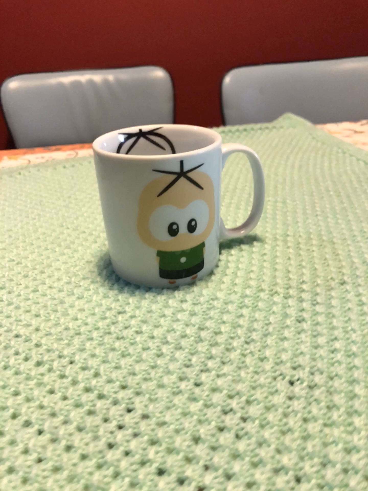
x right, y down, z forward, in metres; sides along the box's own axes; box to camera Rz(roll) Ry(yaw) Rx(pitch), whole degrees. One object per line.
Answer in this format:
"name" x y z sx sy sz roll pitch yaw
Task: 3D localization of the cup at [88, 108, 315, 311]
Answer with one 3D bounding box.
"cup" 0.008 -0.033 0.298 0.130 0.099 0.091 -11 29 -13
